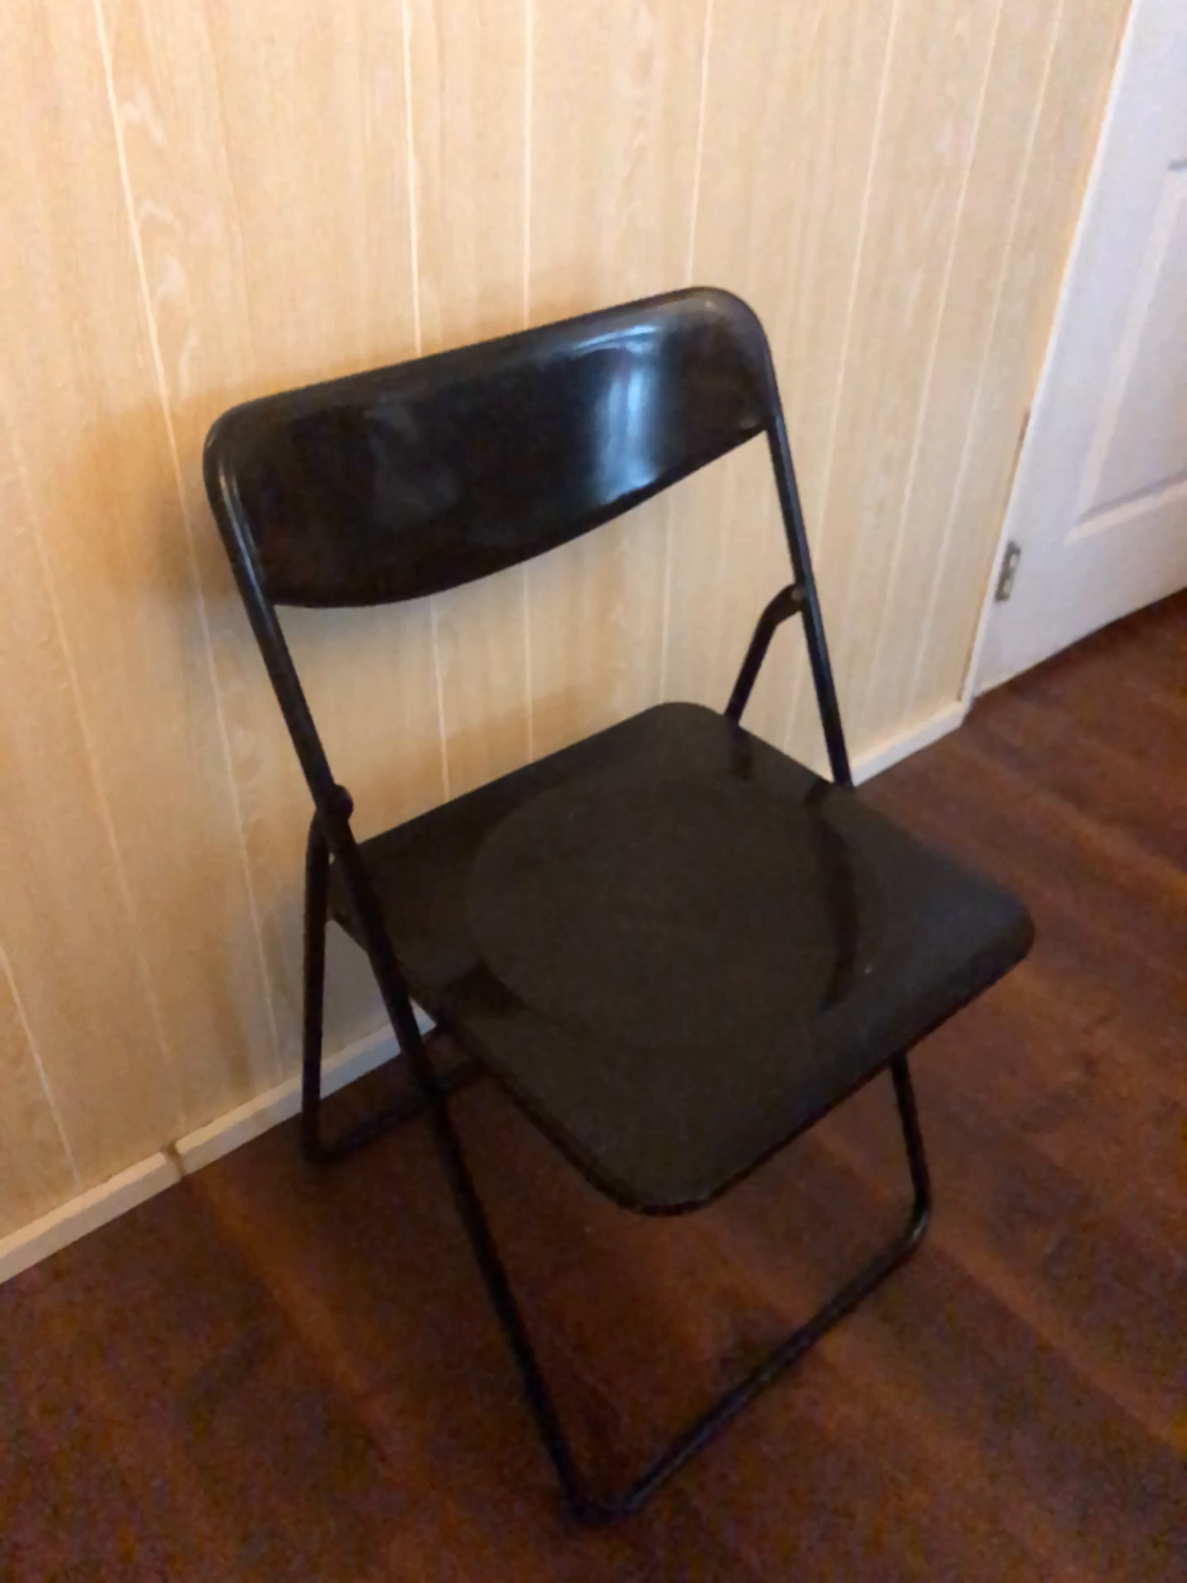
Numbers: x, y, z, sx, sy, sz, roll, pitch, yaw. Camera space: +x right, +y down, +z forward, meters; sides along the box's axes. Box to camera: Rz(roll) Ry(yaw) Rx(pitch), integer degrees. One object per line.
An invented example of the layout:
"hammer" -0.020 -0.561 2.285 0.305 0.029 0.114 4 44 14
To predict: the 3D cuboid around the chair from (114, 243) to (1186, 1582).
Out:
"chair" 0.064 0.065 0.907 0.491 0.665 0.472 -27 48 -33
